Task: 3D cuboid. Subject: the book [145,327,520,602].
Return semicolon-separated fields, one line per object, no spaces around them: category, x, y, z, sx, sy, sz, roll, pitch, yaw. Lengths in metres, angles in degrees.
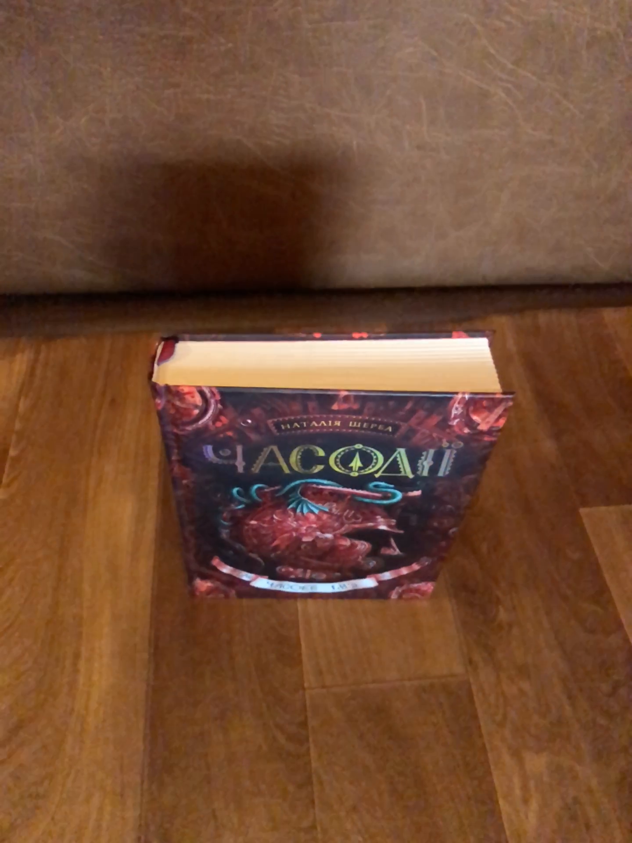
book;0.002;0.040;0.413;0.170;0.220;0.040;0;51;-4
